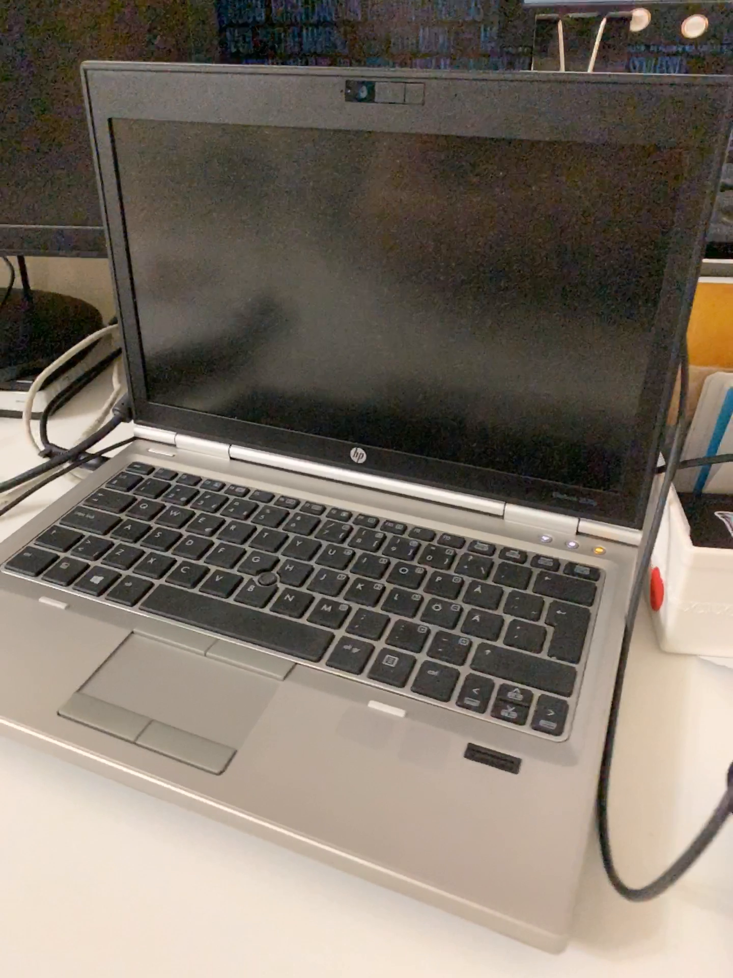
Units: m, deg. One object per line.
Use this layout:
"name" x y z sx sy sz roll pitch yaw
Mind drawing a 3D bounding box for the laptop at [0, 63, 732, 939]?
"laptop" -0.039 -0.043 0.309 0.303 0.205 0.225 12 35 19
